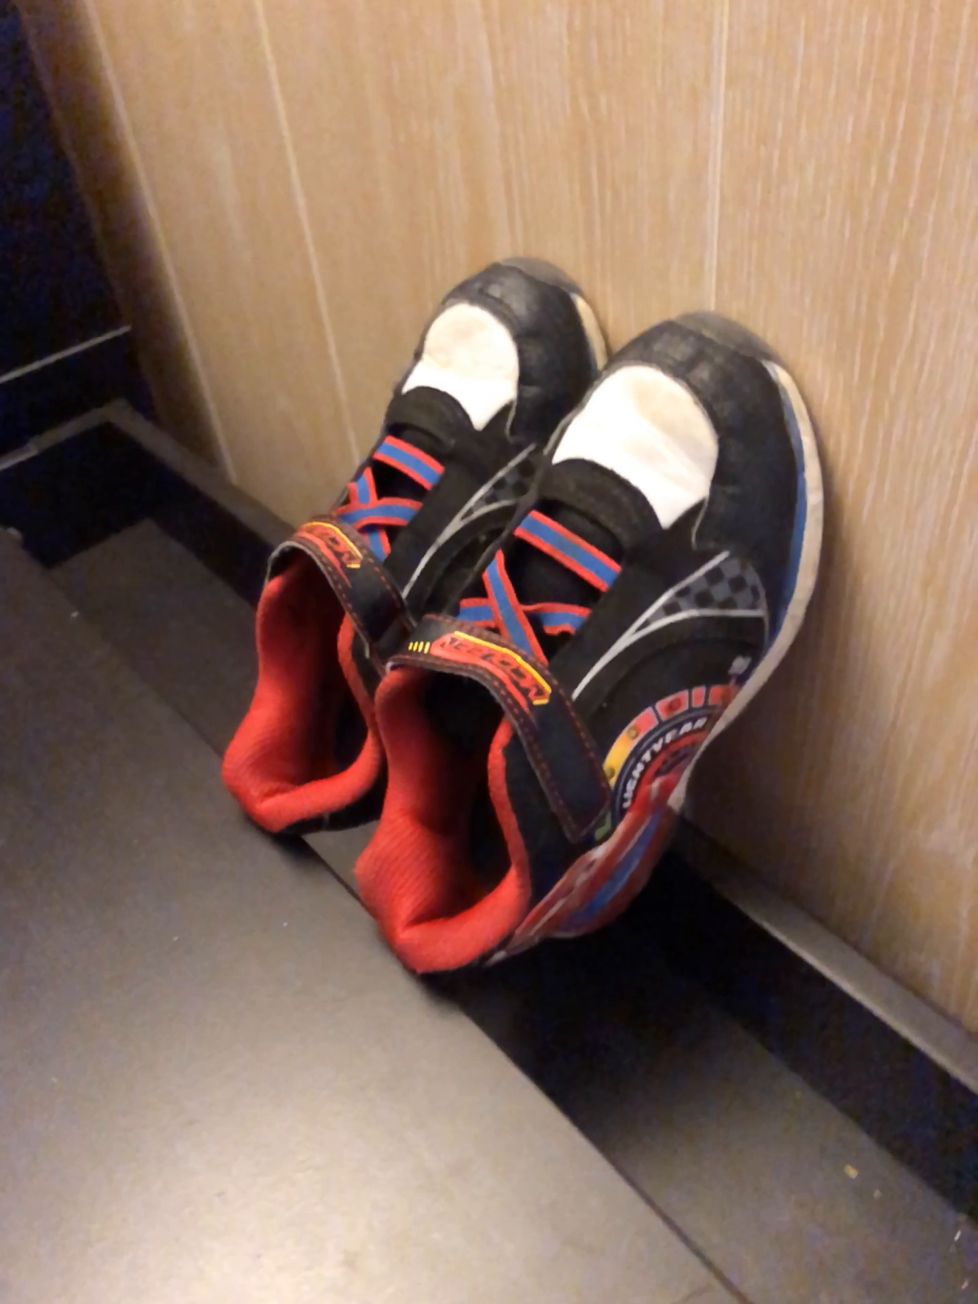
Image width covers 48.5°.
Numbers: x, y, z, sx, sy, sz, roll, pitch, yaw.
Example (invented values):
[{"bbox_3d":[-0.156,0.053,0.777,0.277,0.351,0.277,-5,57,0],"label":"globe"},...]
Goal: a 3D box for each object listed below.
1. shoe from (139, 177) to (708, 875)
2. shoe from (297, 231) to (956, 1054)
[{"bbox_3d":[-0.026,-0.037,0.361,0.090,0.200,0.070,35,13,36],"label":"shoe"},{"bbox_3d":[0.033,0.000,0.325,0.070,0.209,0.090,9,22,-49],"label":"shoe"}]
